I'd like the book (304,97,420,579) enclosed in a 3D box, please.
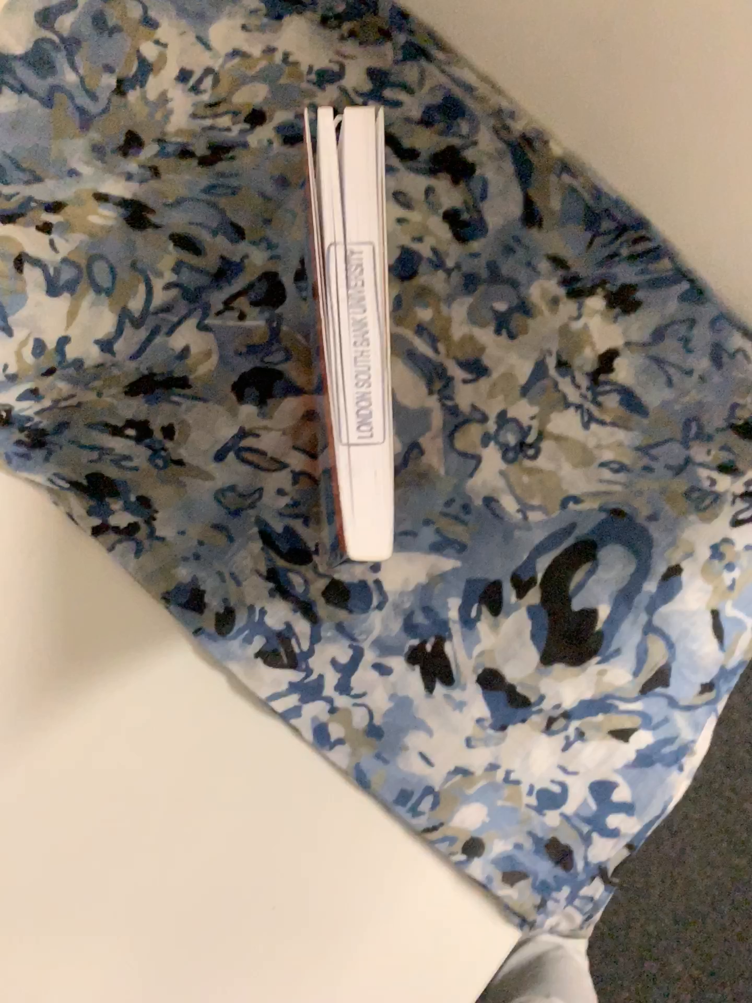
[{"bbox_3d":[-0.014,-0.040,0.325,0.024,0.204,0.140,-3,84,-6],"label":"book"}]
